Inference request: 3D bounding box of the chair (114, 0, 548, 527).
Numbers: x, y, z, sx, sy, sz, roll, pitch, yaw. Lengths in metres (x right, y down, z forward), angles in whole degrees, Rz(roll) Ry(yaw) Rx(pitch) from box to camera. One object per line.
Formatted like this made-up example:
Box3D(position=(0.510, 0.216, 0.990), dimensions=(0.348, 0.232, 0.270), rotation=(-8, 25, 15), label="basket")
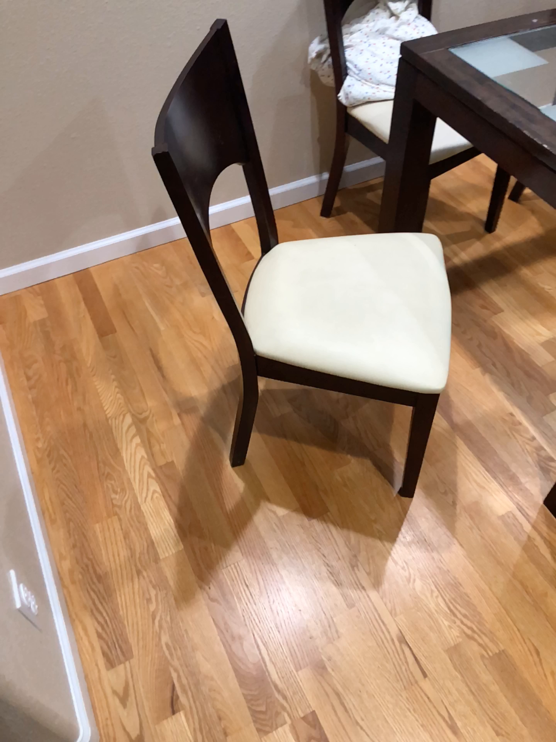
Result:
Box3D(position=(0.111, -0.164, 1.248), dimensions=(0.530, 0.906, 0.523), rotation=(7, 50, 8), label="chair")
